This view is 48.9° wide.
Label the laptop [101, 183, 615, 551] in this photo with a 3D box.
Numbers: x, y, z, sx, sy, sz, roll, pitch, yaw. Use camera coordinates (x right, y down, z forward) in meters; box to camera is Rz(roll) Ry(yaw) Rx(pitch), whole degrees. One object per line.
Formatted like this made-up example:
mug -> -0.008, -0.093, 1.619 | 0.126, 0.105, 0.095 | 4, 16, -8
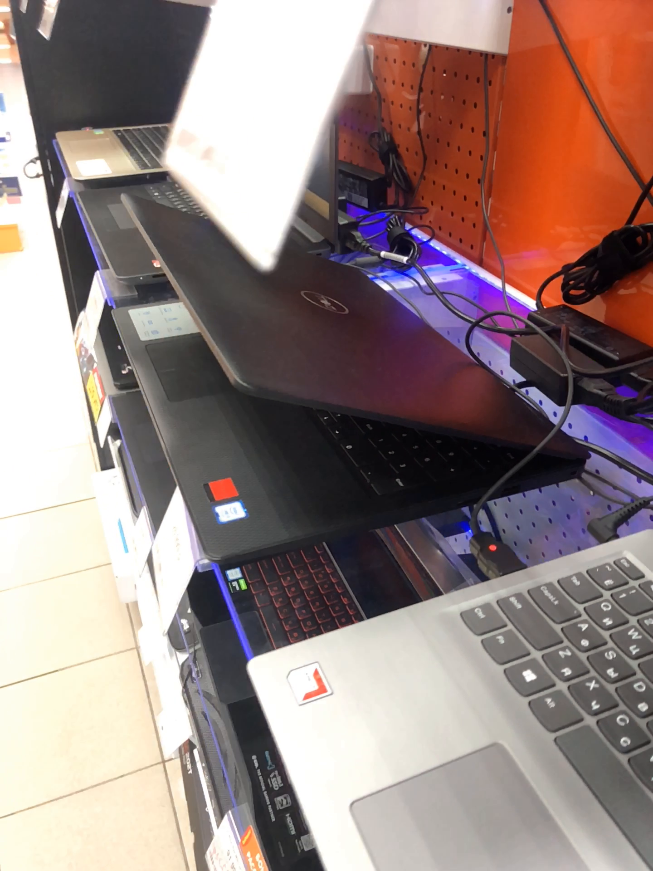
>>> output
laptop -> -0.018, -0.092, 0.544 | 0.238, 0.100, 0.373 | -12, 33, -18
